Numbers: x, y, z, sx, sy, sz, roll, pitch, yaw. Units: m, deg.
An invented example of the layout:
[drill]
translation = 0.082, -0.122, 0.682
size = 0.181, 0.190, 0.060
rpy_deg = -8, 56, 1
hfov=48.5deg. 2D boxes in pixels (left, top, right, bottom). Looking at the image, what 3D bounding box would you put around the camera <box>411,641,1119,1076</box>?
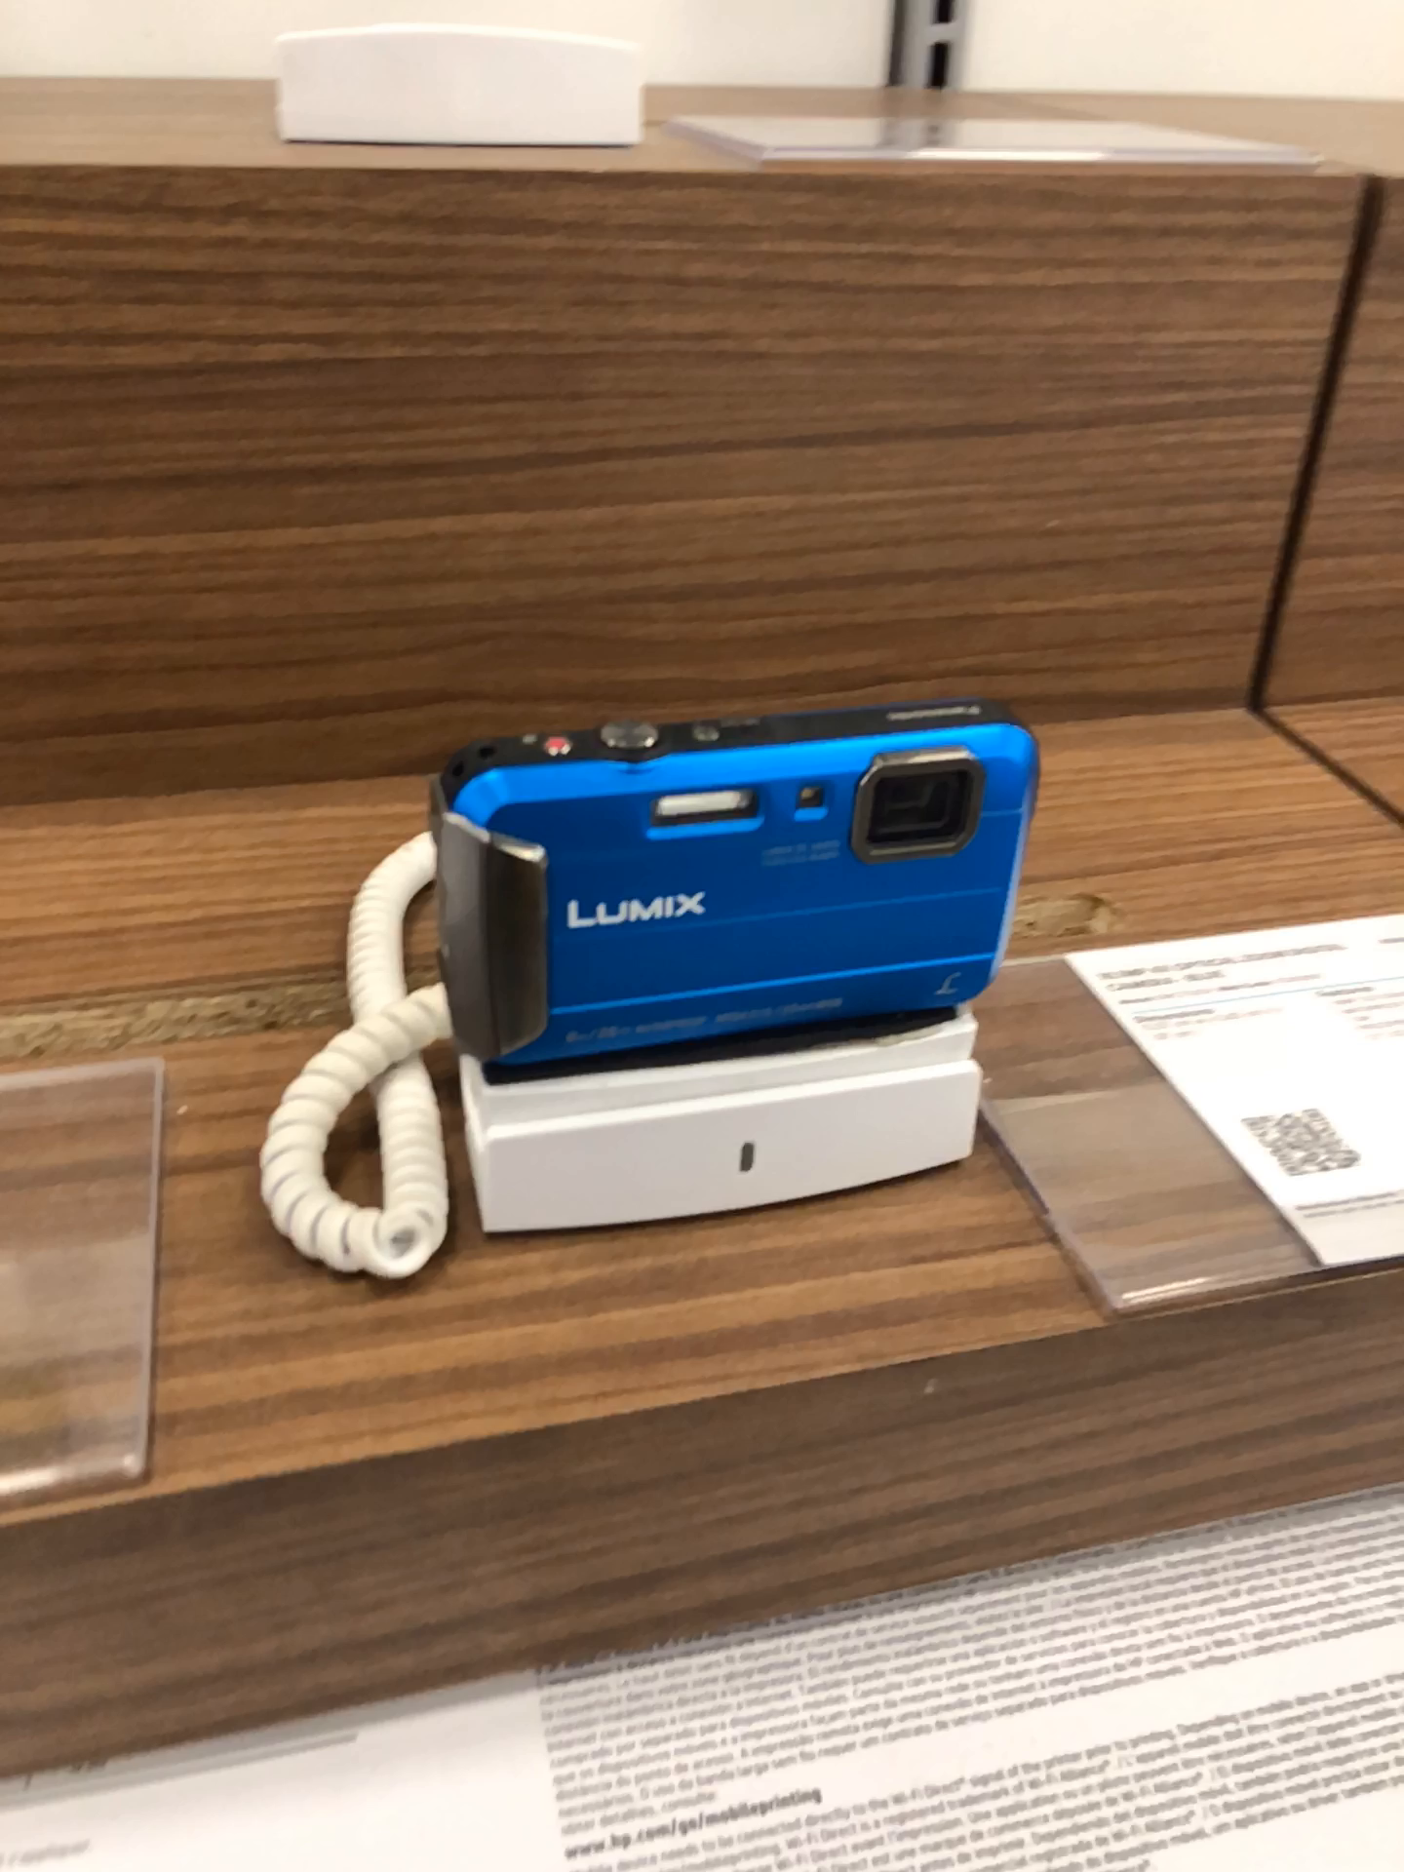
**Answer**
[camera]
translation = 0.010, -0.014, 0.261
size = 0.110, 0.060, 0.020
rpy_deg = -7, 35, -14
